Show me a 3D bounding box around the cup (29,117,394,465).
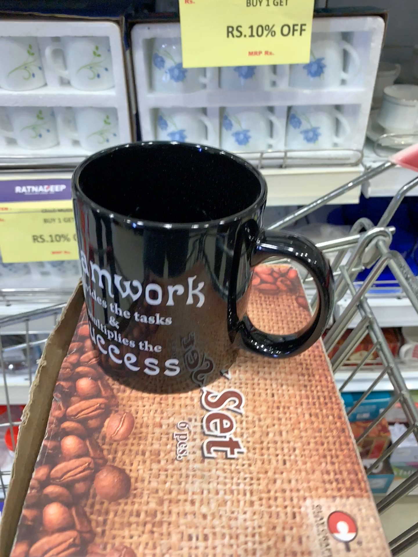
[{"bbox_3d":[0.002,0.002,0.202,0.120,0.100,0.080,21,44,15],"label":"cup"}]
